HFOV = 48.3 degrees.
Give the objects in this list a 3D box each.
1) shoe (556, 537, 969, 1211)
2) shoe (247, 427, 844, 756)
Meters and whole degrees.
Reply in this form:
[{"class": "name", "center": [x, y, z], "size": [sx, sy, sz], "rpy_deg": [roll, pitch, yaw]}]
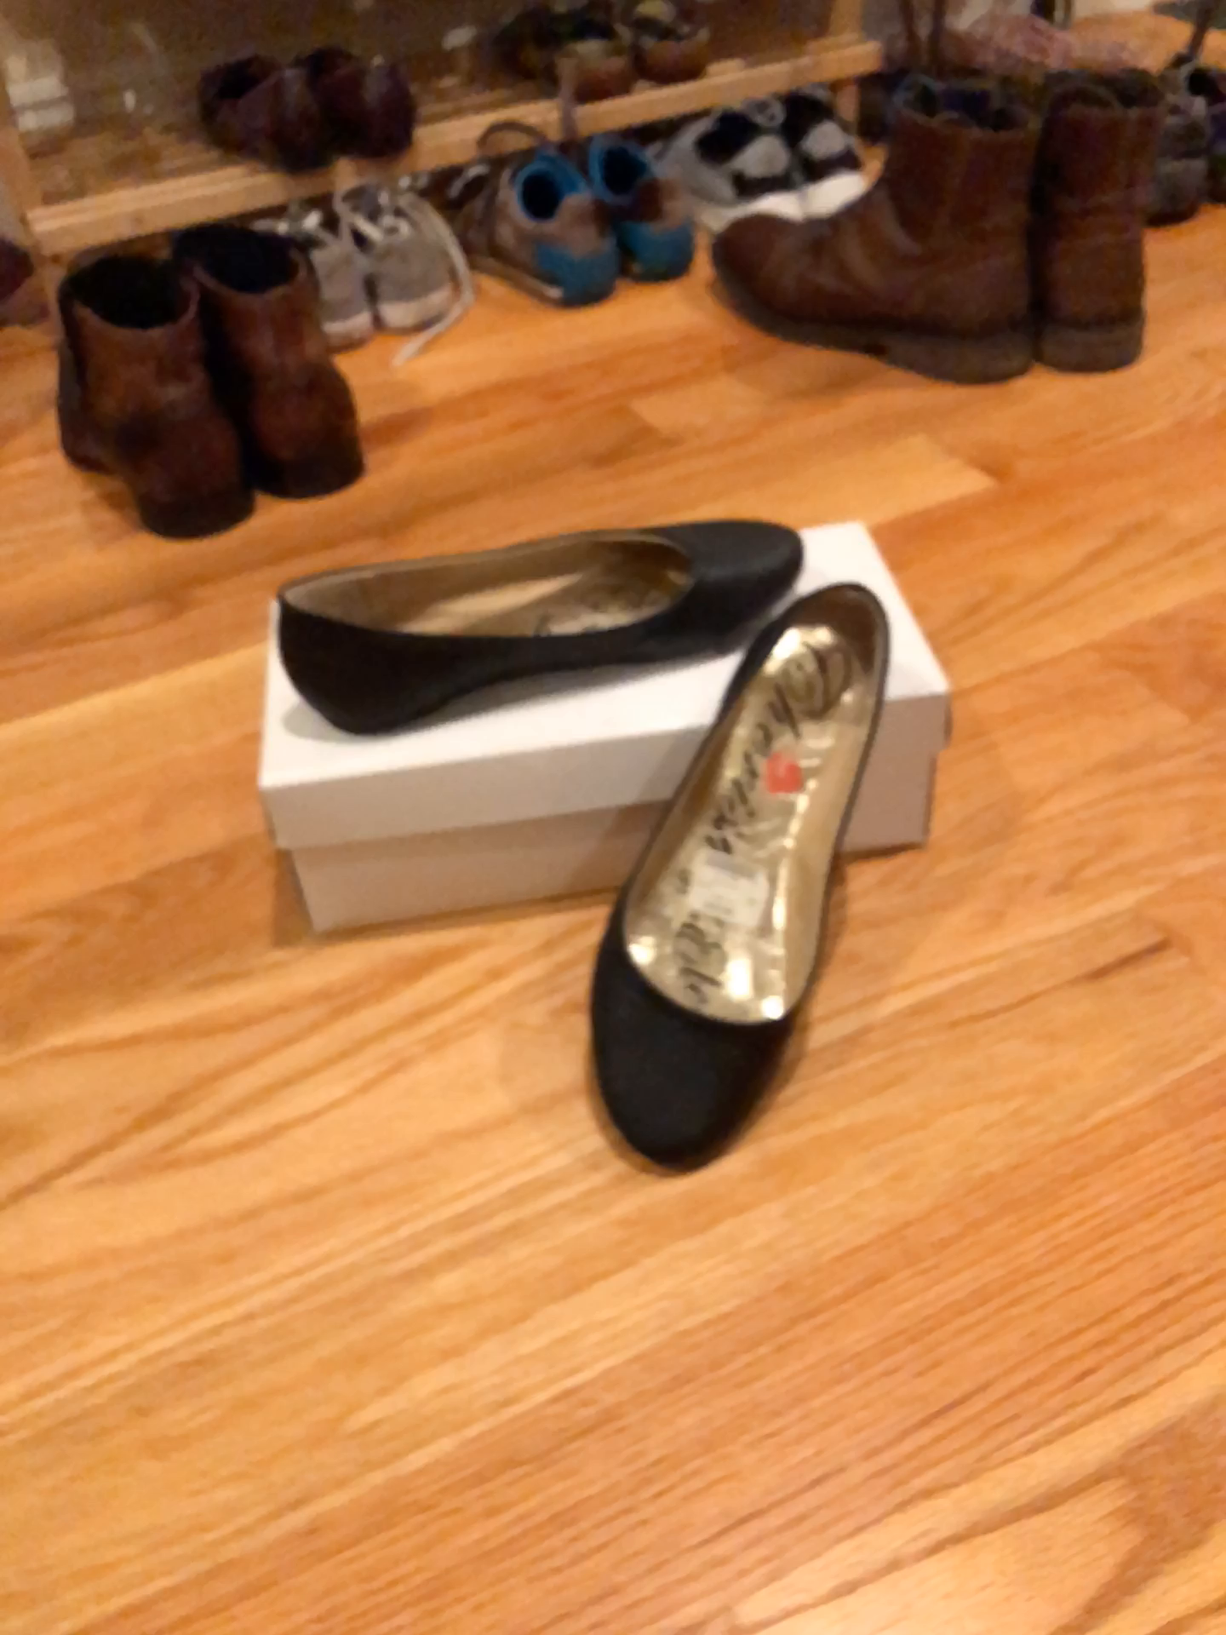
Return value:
[{"class": "shoe", "center": [0.059, 0.020, 0.536], "size": [0.076, 0.060, 0.240], "rpy_deg": [20, 82, 6]}, {"class": "shoe", "center": [-0.027, -0.101, 0.591], "size": [0.239, 0.060, 0.076], "rpy_deg": [-15, 43, -11]}]
